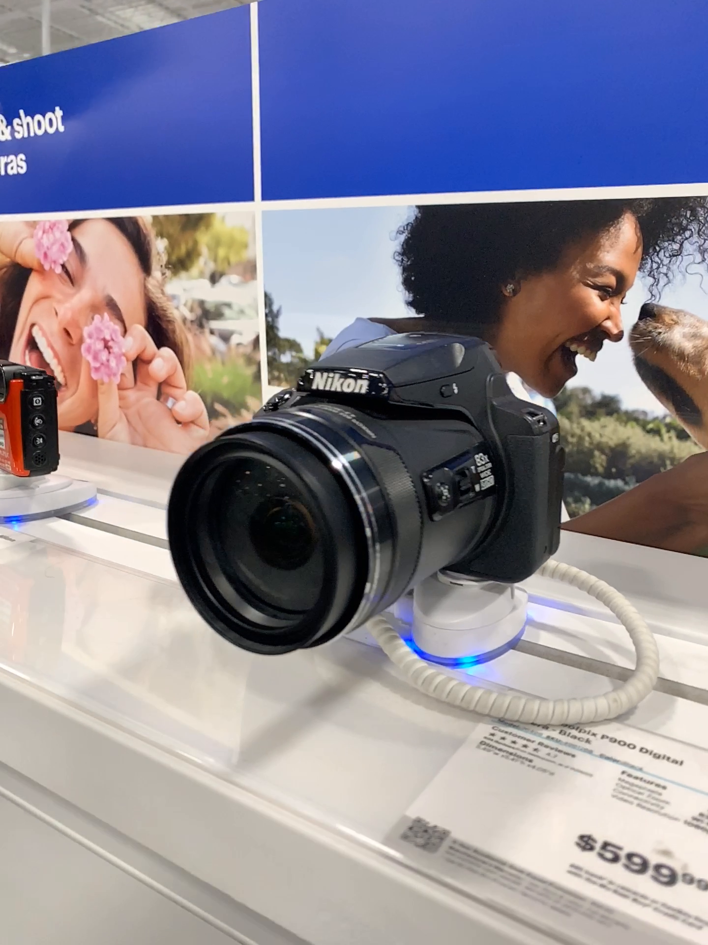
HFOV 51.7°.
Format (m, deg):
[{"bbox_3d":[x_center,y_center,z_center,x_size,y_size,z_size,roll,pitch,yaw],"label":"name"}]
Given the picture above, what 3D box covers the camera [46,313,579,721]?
[{"bbox_3d":[-0.009,-0.005,0.288,0.140,0.100,0.153,11,14,30],"label":"camera"}]
